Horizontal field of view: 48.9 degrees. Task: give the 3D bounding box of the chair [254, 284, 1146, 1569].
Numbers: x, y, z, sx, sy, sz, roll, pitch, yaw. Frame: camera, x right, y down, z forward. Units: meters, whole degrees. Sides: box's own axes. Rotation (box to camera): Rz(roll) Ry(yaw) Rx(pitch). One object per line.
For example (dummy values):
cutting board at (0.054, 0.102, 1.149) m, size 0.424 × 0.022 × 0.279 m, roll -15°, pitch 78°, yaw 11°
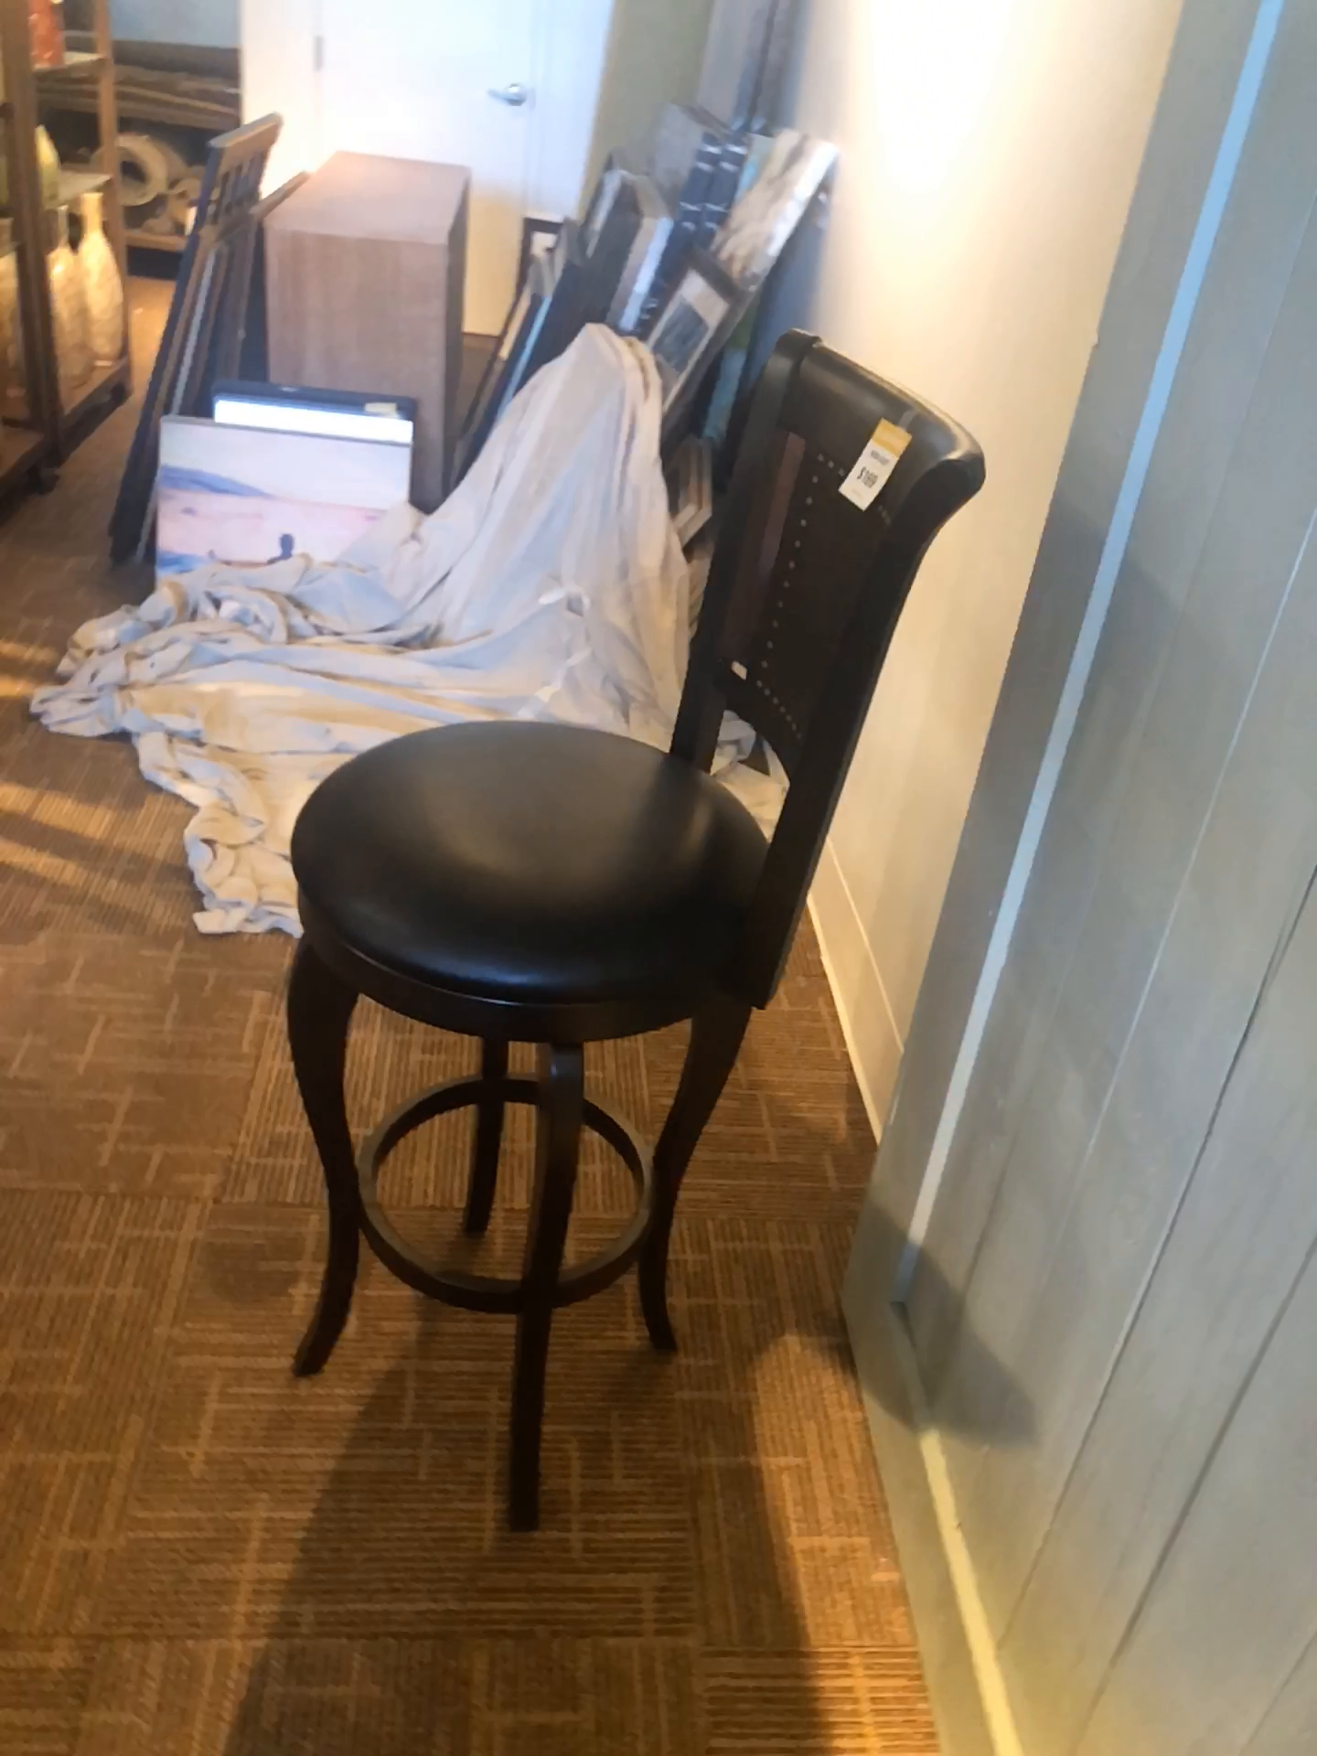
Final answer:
chair at (-0.067, 0.083, 1.492) m, size 0.610 × 1.150 × 0.563 m, roll 2°, pitch 31°, yaw -11°
